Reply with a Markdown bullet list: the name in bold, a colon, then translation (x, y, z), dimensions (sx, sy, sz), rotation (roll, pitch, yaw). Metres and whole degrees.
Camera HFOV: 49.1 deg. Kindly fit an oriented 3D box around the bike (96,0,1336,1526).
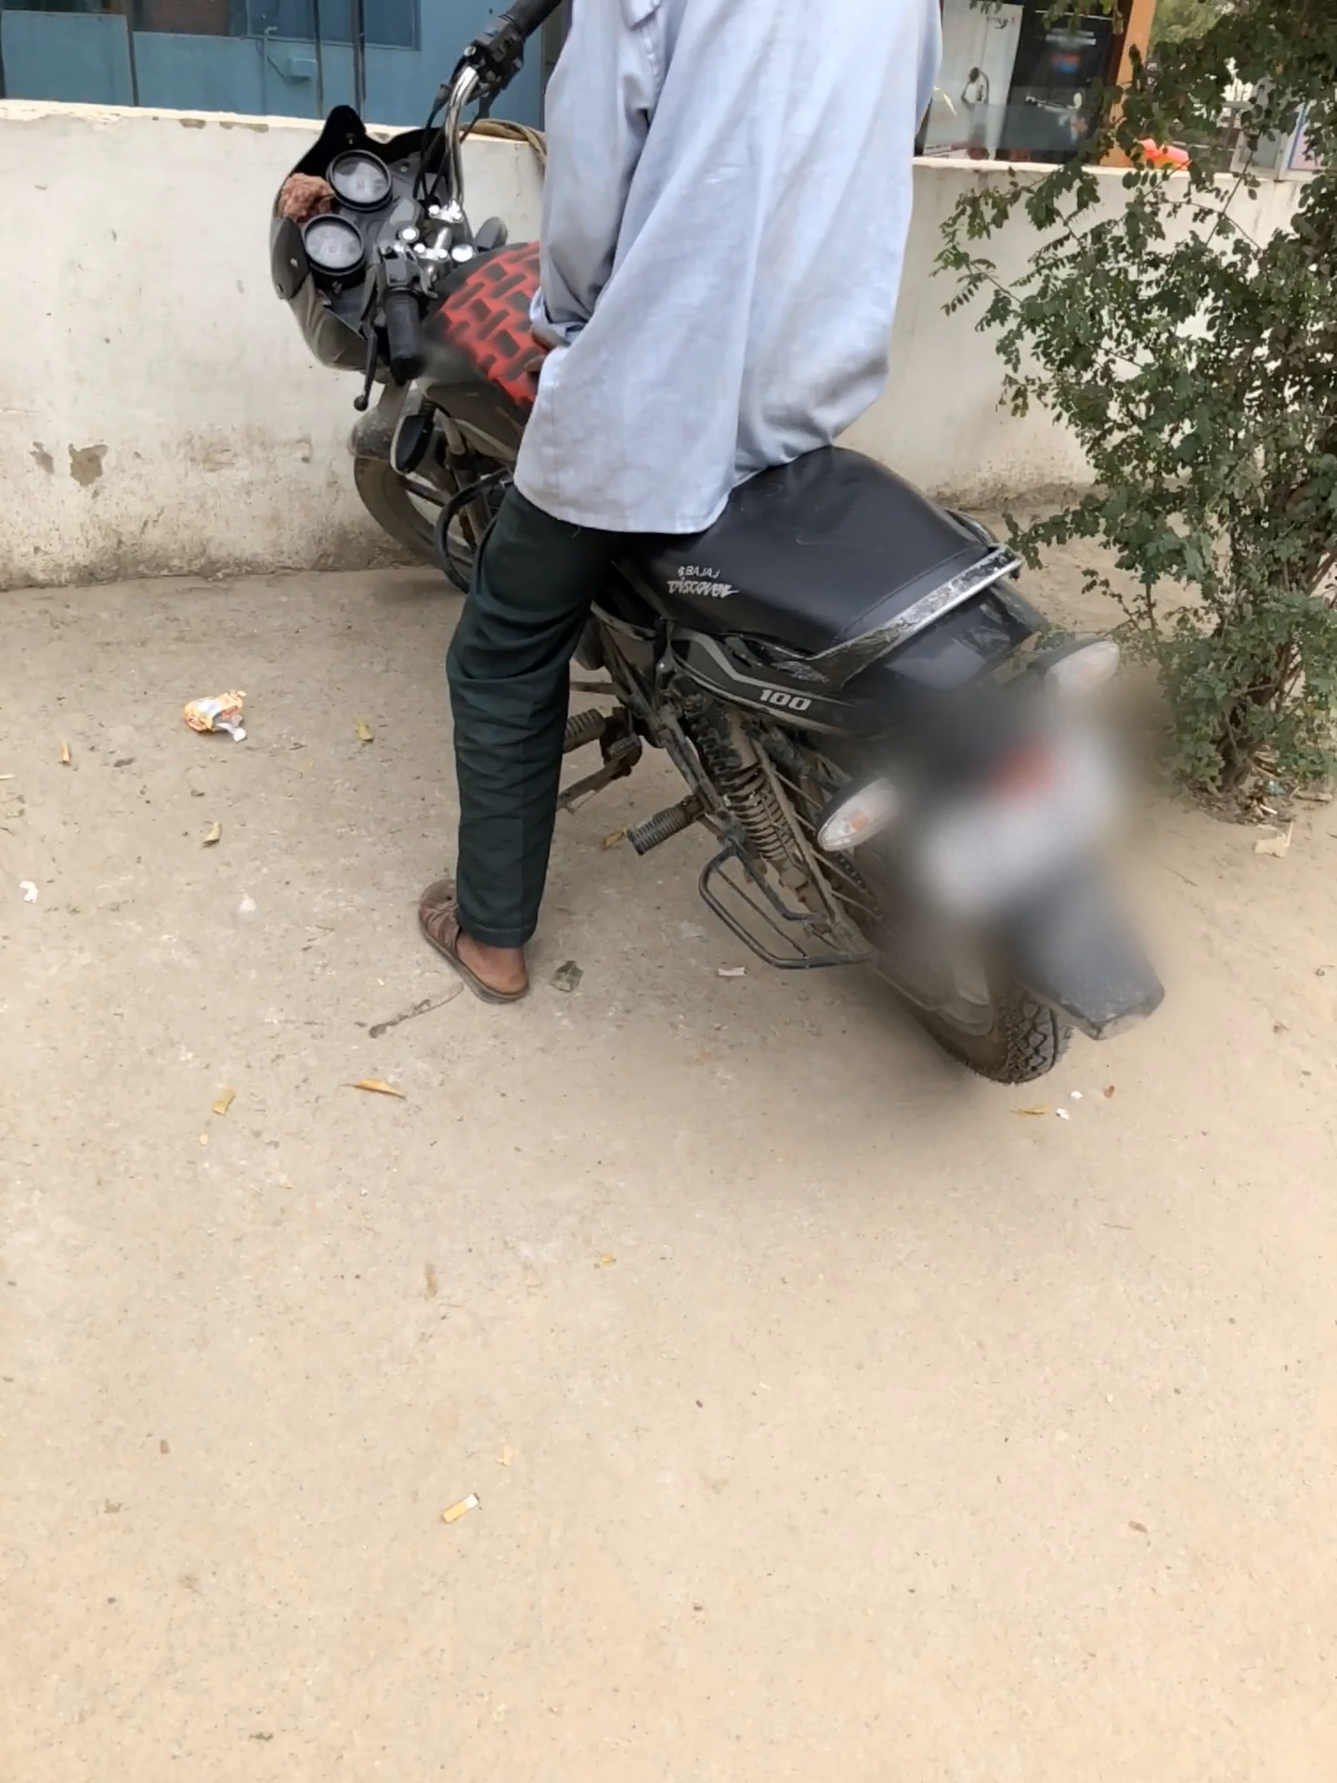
- **bike**: translation (-0.088, -0.412, 1.889), dimensions (0.788, 1.333, 1.502), rotation (-14, 37, -29)
